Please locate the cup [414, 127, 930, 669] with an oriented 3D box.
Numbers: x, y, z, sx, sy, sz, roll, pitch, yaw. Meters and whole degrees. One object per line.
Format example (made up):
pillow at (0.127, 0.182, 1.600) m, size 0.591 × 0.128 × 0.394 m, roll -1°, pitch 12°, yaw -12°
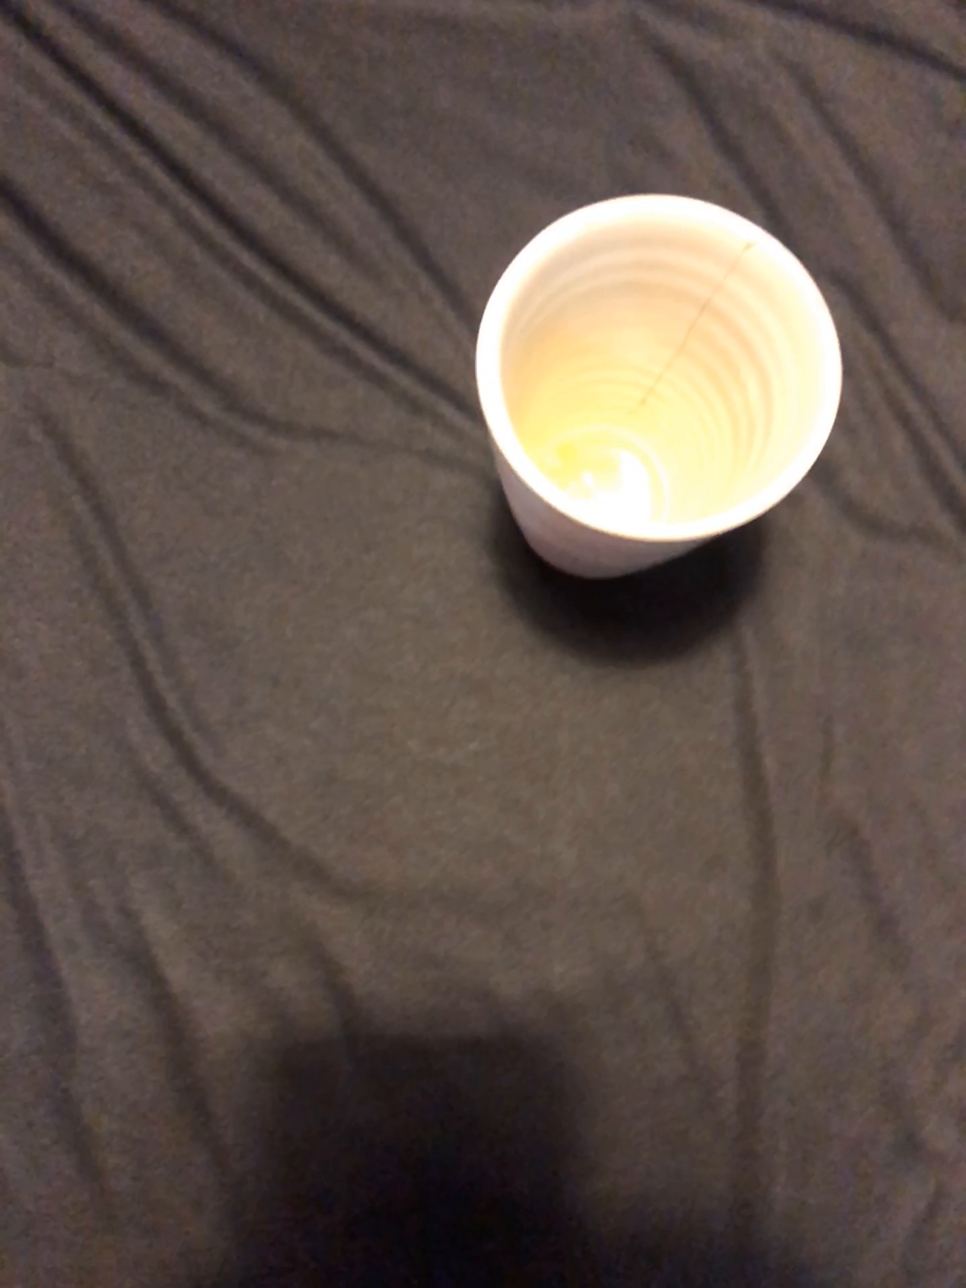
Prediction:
cup at (0.042, -0.056, 0.291) m, size 0.090 × 0.100 × 0.080 m, roll 28°, pitch 81°, yaw 3°
